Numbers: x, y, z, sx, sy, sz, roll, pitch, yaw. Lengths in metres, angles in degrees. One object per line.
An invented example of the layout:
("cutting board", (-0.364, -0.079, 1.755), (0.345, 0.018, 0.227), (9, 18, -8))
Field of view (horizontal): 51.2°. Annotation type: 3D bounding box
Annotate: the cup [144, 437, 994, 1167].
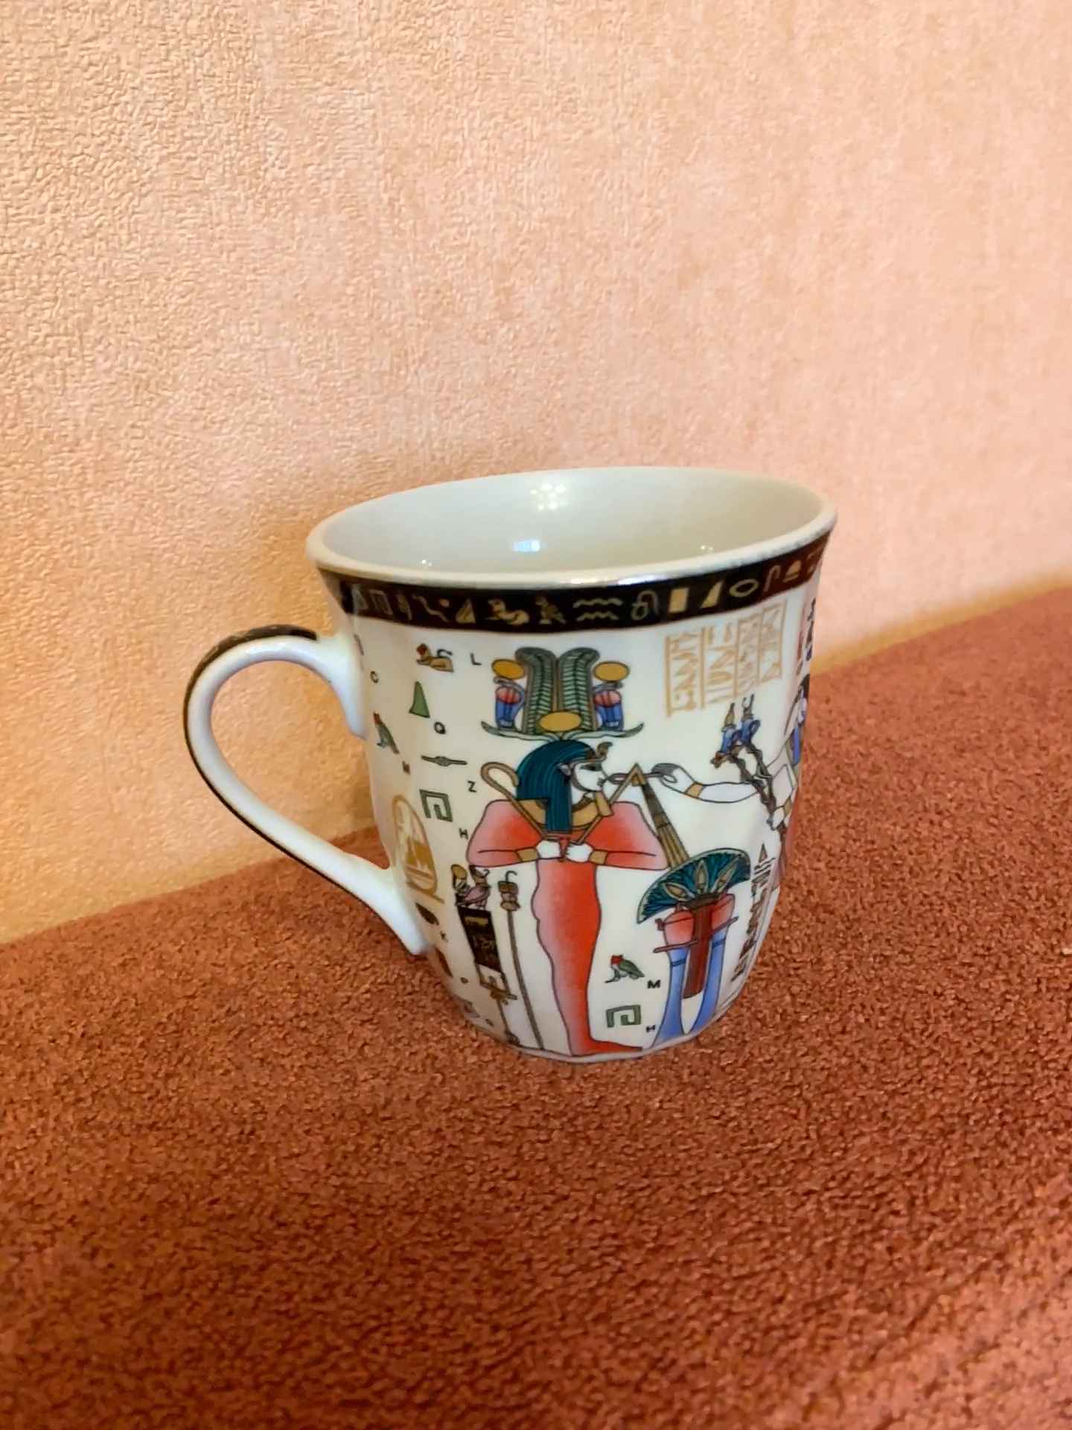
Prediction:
("cup", (0.002, 0.006, 0.203), (0.115, 0.087, 0.086), (-8, 24, -9))
